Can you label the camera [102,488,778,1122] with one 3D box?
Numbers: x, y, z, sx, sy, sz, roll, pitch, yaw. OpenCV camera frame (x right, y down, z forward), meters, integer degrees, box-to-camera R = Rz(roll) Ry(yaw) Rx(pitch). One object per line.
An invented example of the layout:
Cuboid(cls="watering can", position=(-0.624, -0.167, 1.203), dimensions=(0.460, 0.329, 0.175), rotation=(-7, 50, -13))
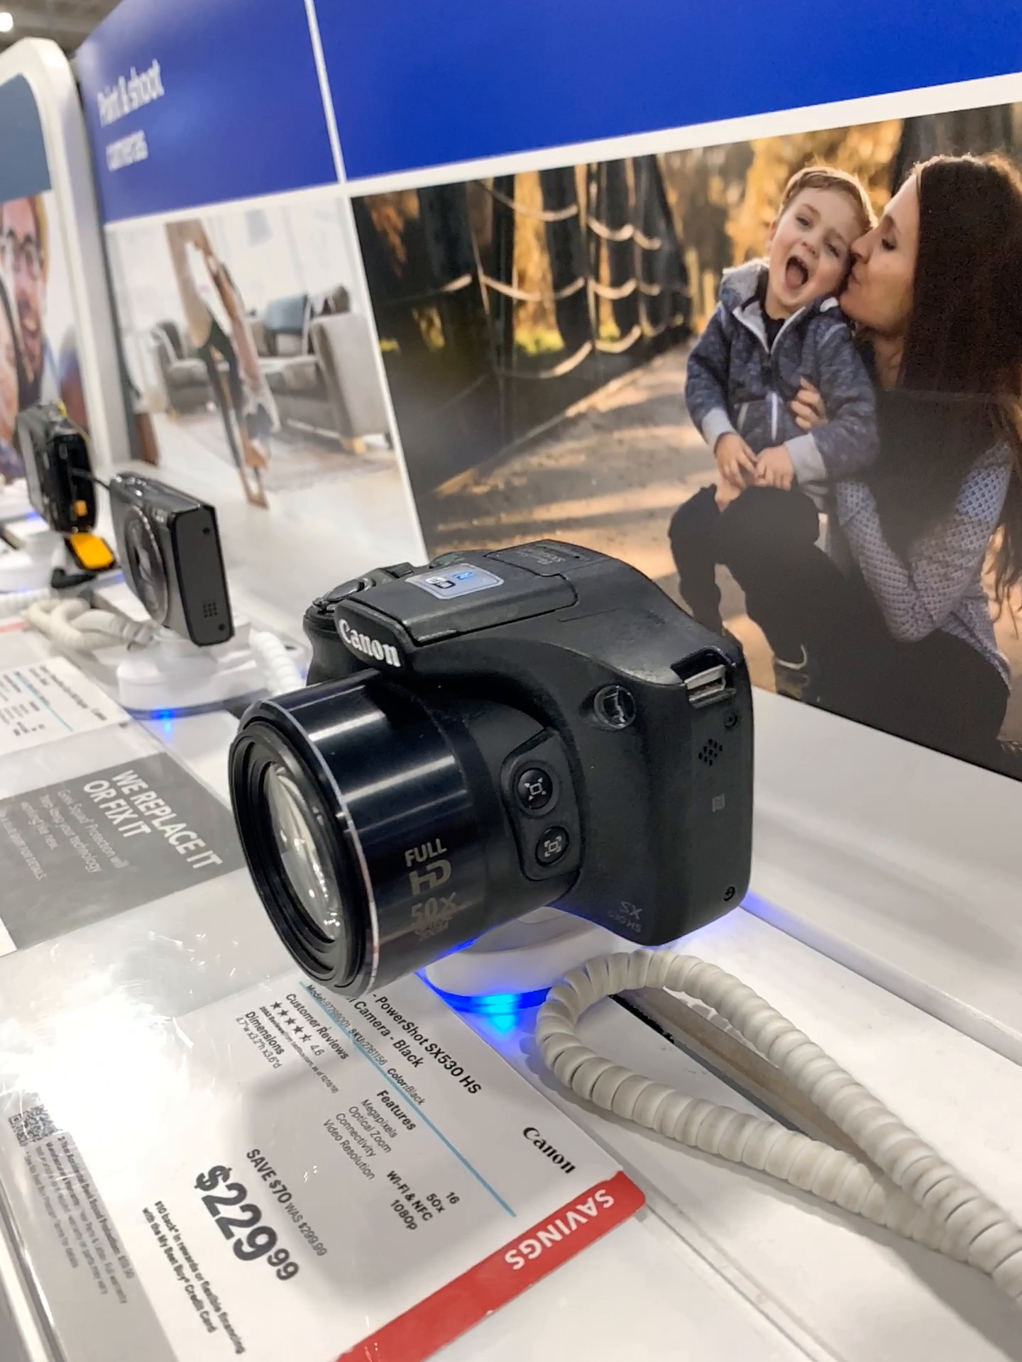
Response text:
Cuboid(cls="camera", position=(-0.021, 0.011, 0.242), dimensions=(0.090, 0.080, 0.124), rotation=(-17, 27, -35))
